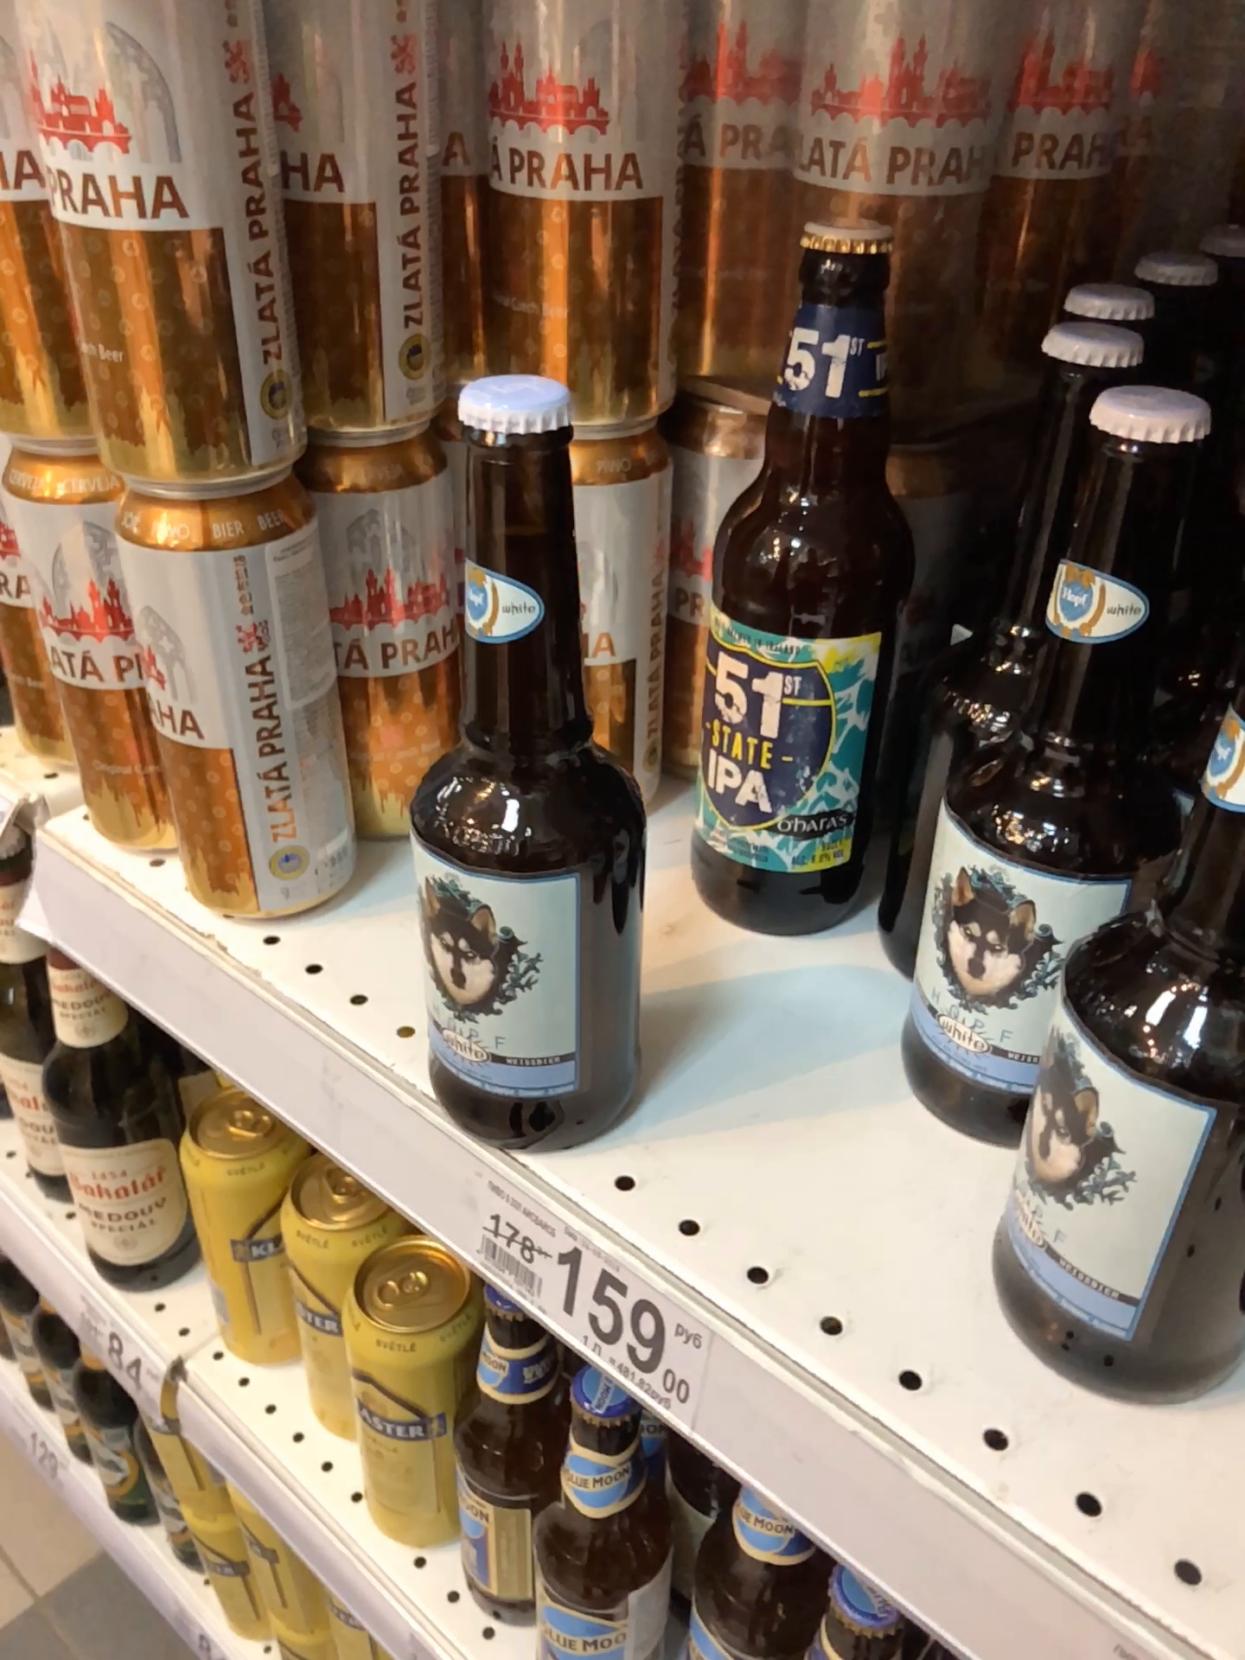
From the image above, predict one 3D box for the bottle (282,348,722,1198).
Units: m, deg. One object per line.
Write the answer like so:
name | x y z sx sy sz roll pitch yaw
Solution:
bottle | -0.032 -0.011 0.393 0.080 0.219 0.070 23 38 29
